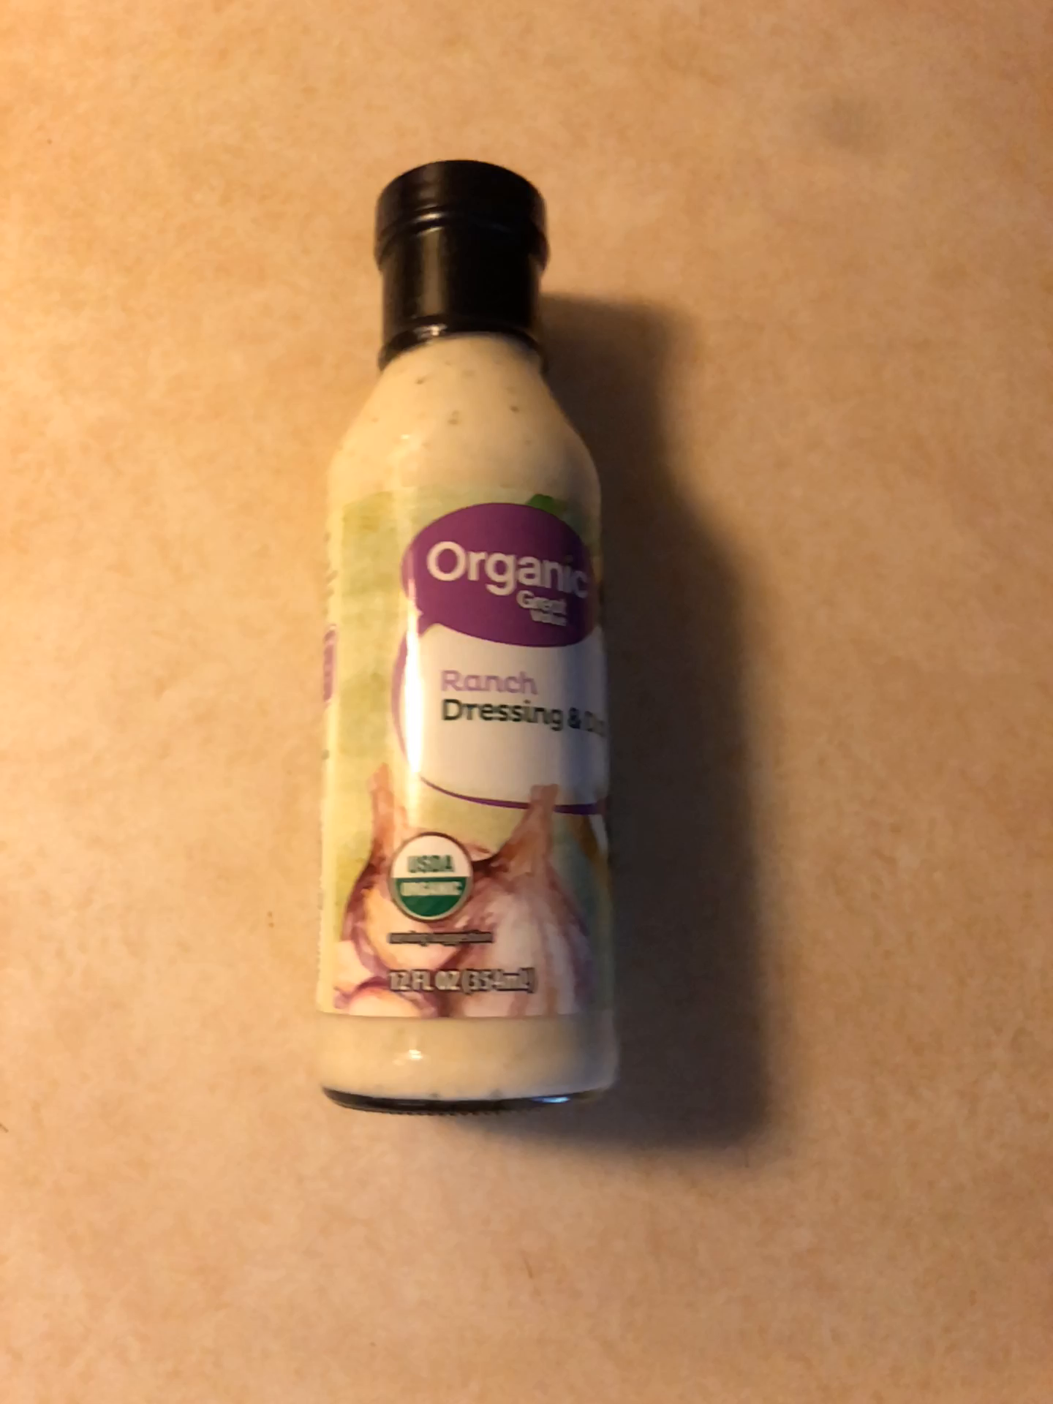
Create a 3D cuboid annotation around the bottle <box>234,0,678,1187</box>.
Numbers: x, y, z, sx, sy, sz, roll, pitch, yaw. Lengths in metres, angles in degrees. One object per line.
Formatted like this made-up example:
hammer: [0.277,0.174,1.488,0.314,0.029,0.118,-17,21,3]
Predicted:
bottle: [-0.022,-0.027,0.251,0.070,0.060,0.230,2,75,-19]
